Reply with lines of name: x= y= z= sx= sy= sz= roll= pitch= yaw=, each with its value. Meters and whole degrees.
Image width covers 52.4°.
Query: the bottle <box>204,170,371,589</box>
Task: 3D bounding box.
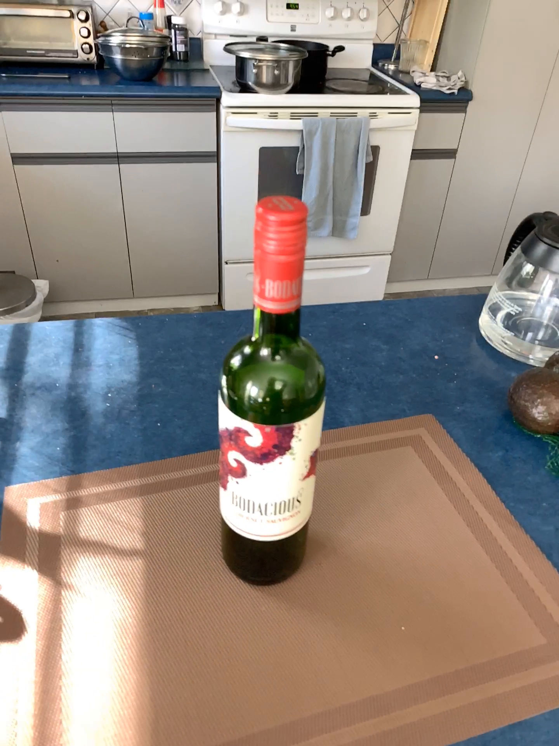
bottle: x=-0.005 y=0.026 z=0.392 sx=0.080 sy=0.297 sz=0.081 roll=2 pitch=36 yaw=-2
